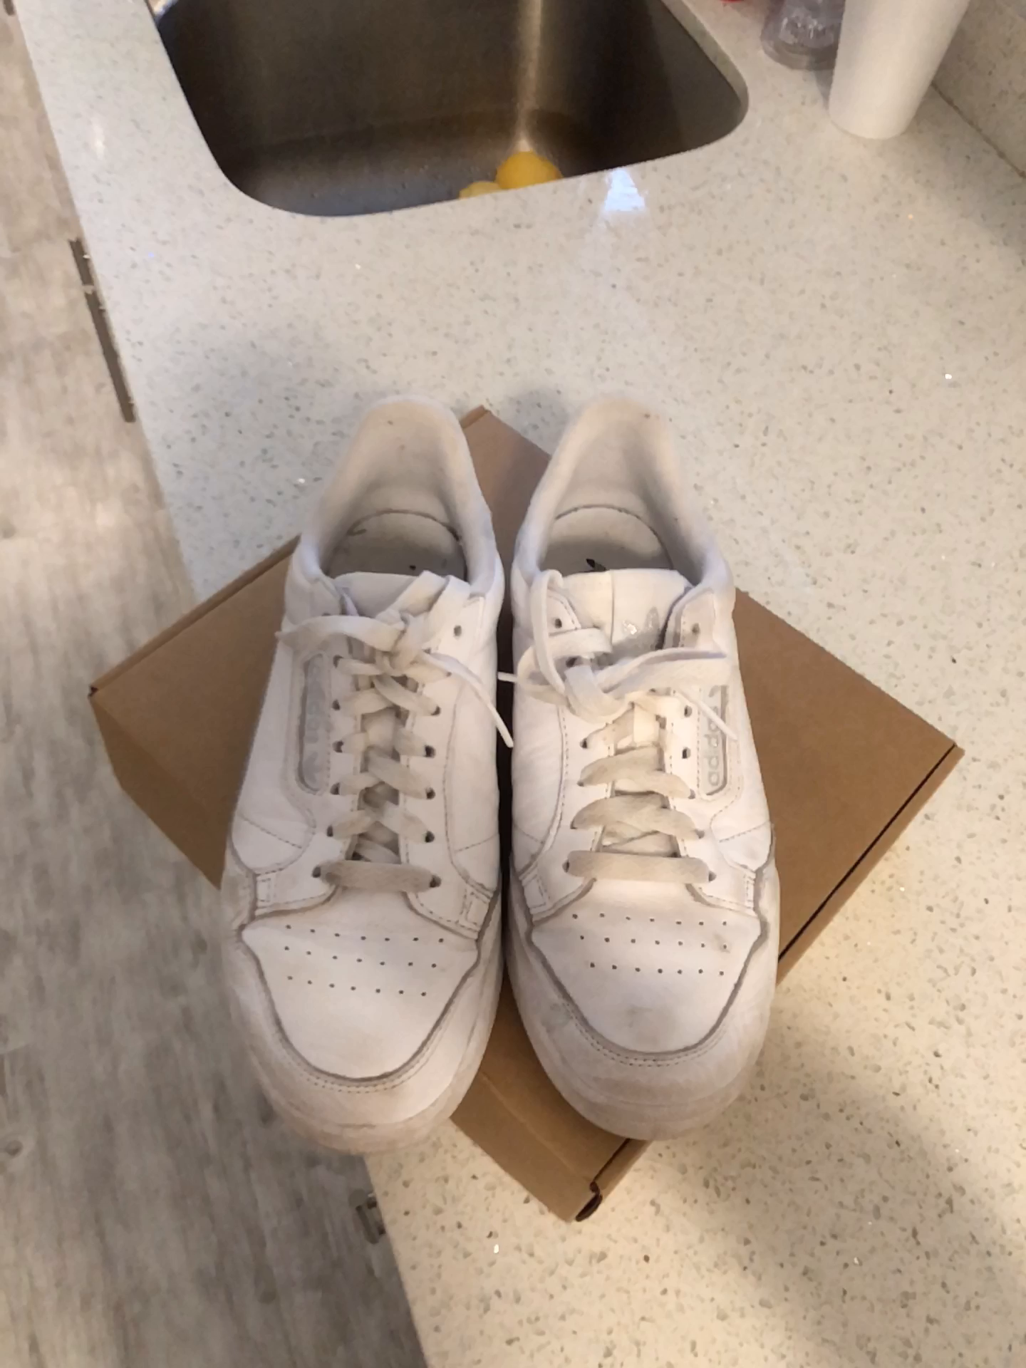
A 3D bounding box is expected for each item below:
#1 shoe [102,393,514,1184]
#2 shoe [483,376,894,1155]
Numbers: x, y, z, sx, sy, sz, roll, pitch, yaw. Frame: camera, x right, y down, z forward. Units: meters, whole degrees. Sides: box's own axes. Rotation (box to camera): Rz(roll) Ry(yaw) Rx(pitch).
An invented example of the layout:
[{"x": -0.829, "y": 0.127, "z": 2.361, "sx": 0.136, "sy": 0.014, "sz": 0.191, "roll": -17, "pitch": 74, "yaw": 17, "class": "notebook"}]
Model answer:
[{"x": -0.056, "y": 0.028, "z": 0.409, "sx": 0.107, "sy": 0.100, "sz": 0.268, "roll": 2, "pitch": 57, "yaw": -2, "class": "shoe"}, {"x": 0.046, "y": 0.020, "z": 0.414, "sx": 0.107, "sy": 0.100, "sz": 0.268, "roll": 2, "pitch": 57, "yaw": -2, "class": "shoe"}]
